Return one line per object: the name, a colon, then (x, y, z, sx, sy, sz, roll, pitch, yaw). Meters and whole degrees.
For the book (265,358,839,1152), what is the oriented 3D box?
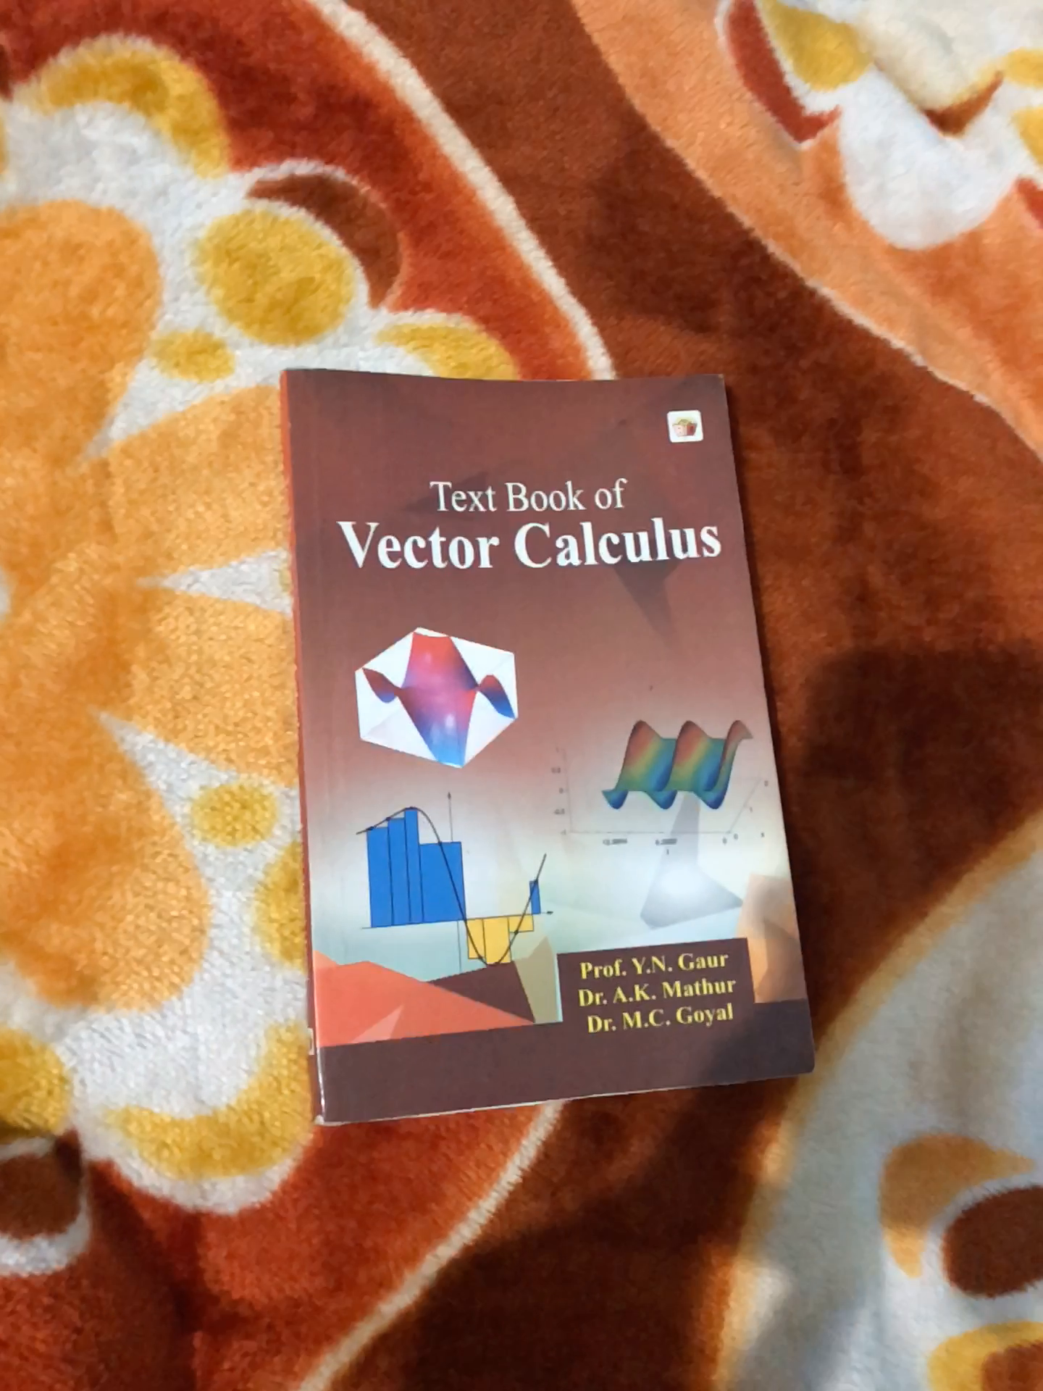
book: (0.005, 0.007, 0.327, 0.140, 0.020, 0.210, -3, 78, -12)
